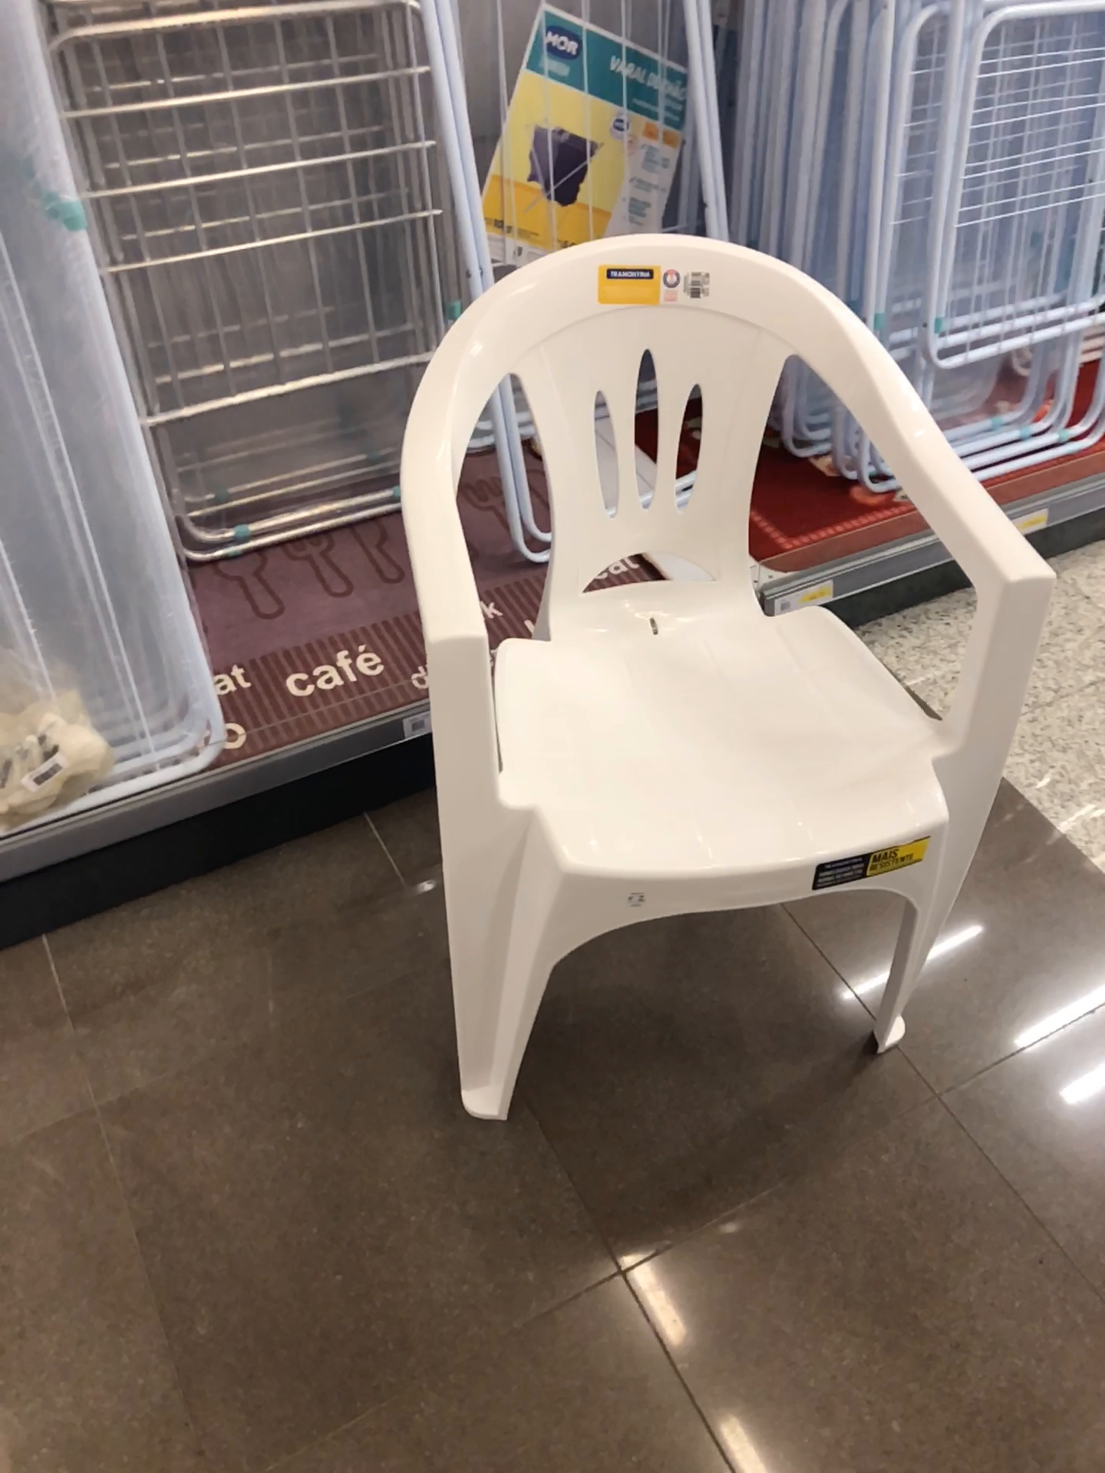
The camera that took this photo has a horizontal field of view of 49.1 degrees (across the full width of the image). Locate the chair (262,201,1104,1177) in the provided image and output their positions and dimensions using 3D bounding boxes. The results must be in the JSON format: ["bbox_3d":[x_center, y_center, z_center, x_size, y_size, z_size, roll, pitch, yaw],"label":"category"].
[{"bbox_3d":[0.084,-0.055,1.257,0.600,0.705,0.604,-10,47,-12],"label":"chair"}]
